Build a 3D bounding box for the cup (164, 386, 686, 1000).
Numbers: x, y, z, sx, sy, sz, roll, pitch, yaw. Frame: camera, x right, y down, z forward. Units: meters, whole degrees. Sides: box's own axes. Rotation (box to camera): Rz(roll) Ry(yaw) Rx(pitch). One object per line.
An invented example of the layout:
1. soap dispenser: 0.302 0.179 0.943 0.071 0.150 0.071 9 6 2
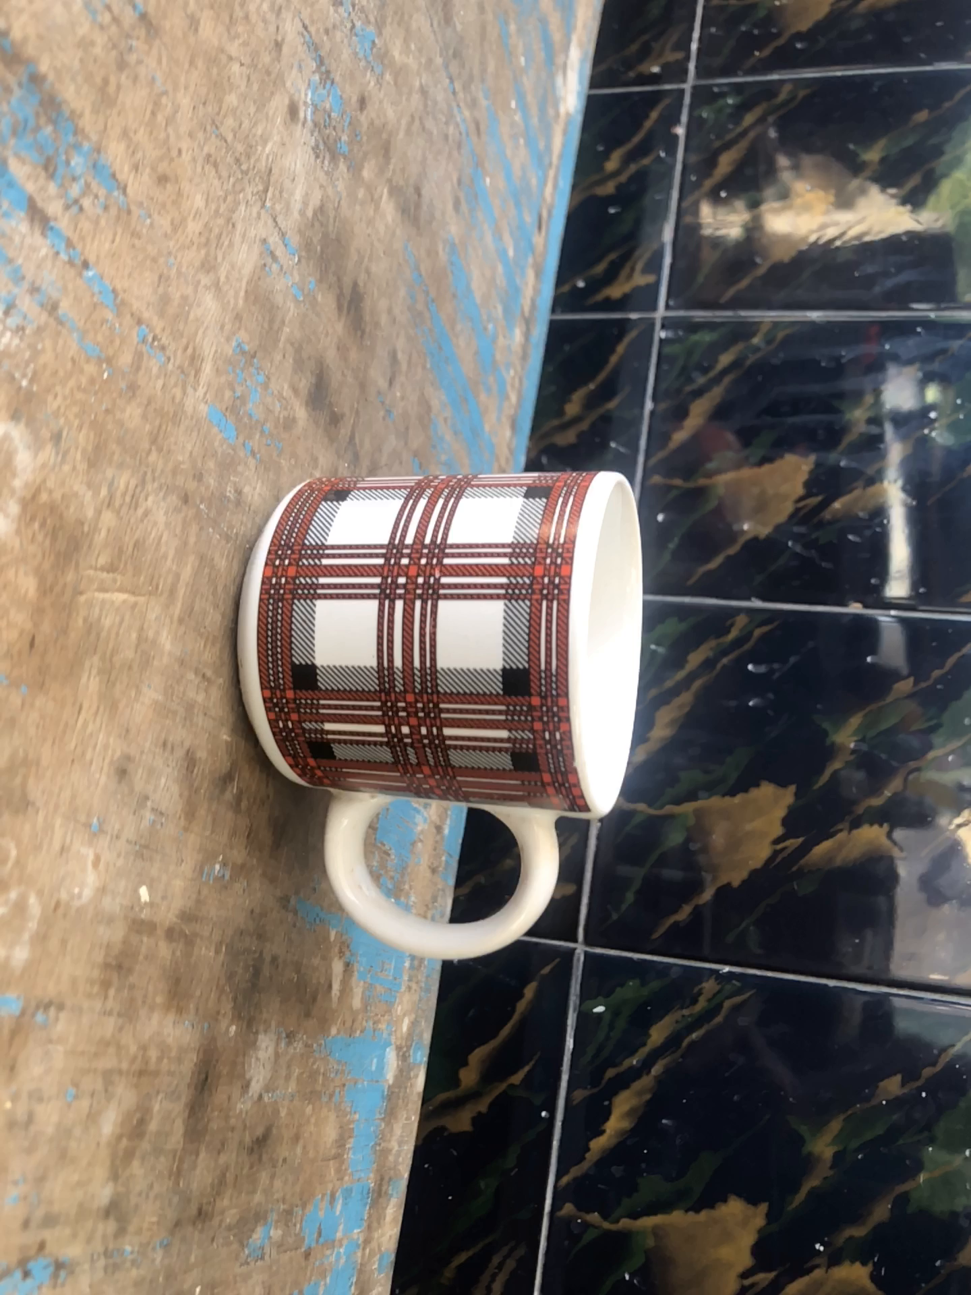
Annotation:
1. cup: -0.005 0.010 0.227 0.060 0.080 0.110 48 48 -69
